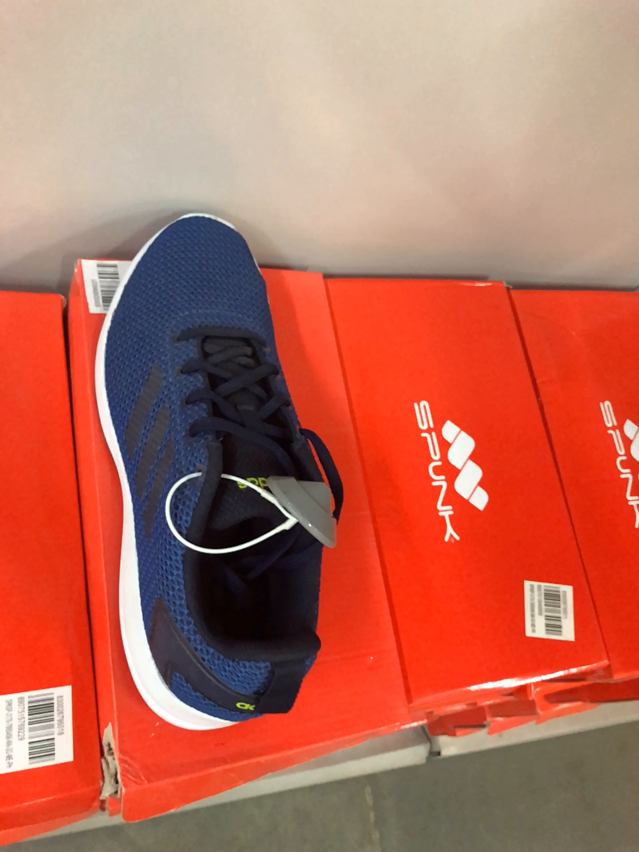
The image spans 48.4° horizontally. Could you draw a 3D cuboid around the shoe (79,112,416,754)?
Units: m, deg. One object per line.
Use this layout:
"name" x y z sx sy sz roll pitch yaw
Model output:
"shoe" -0.060 -0.004 0.393 0.113 0.114 0.316 -1 64 -24
